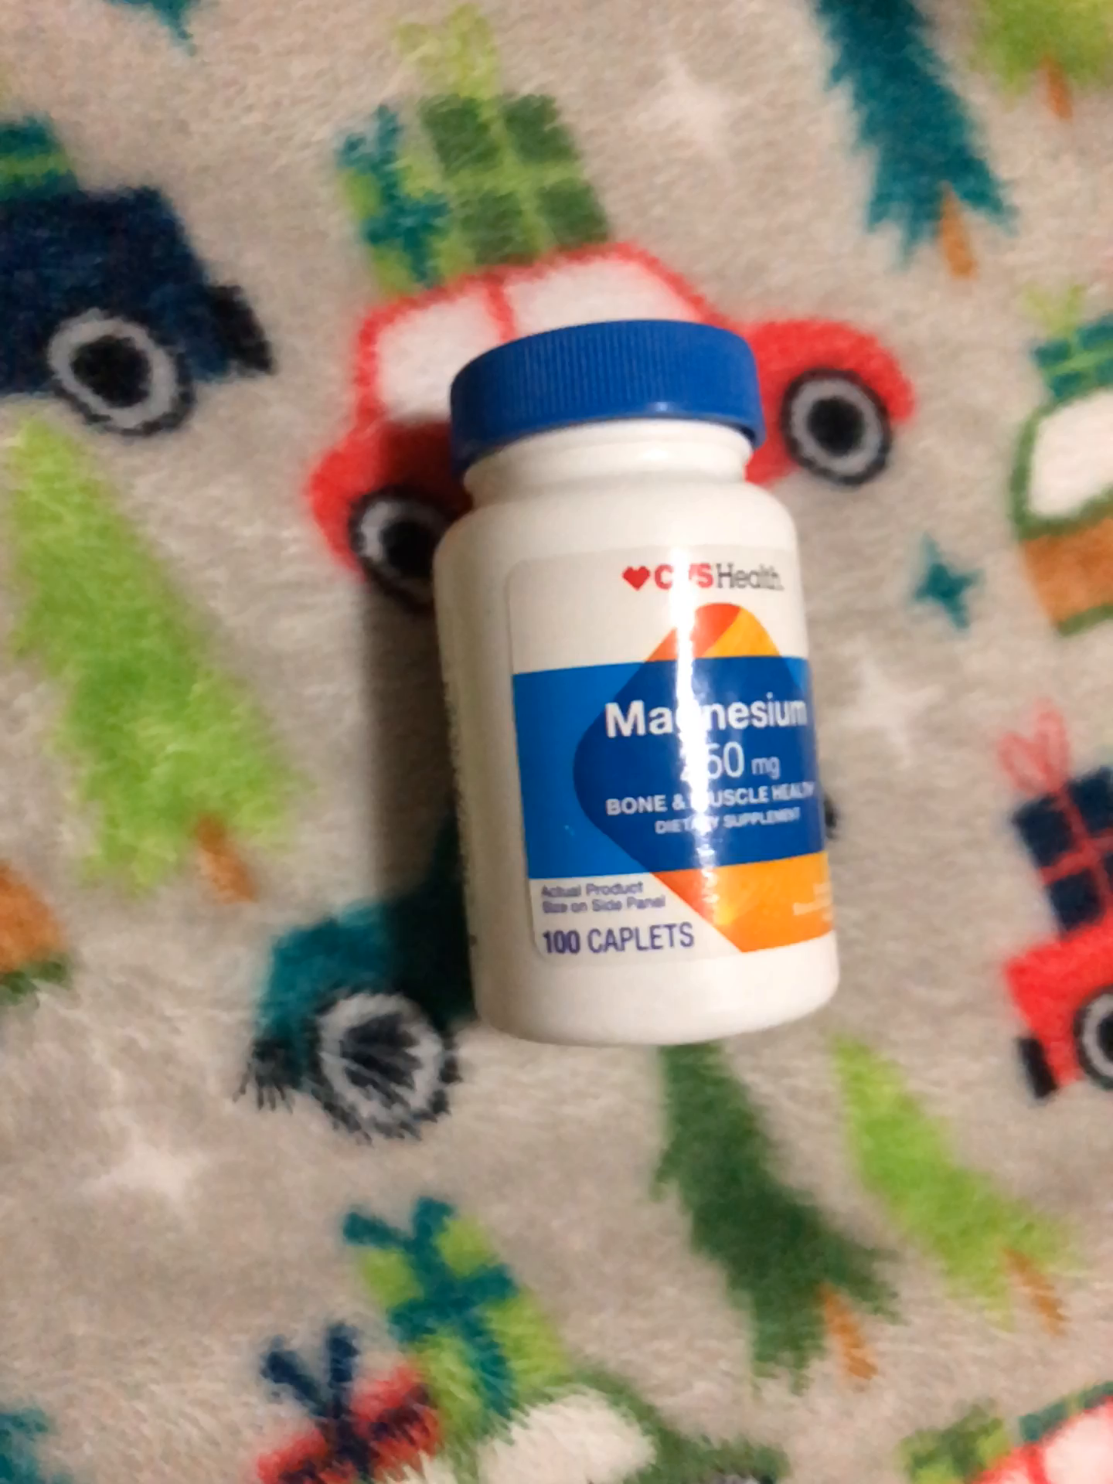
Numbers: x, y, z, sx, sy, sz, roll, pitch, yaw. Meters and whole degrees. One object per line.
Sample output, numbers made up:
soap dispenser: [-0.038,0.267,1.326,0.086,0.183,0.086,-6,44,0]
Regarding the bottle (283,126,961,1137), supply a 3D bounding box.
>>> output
bottle: [0.005,-0.012,0.159,0.060,0.050,0.100,-6,89,-21]
